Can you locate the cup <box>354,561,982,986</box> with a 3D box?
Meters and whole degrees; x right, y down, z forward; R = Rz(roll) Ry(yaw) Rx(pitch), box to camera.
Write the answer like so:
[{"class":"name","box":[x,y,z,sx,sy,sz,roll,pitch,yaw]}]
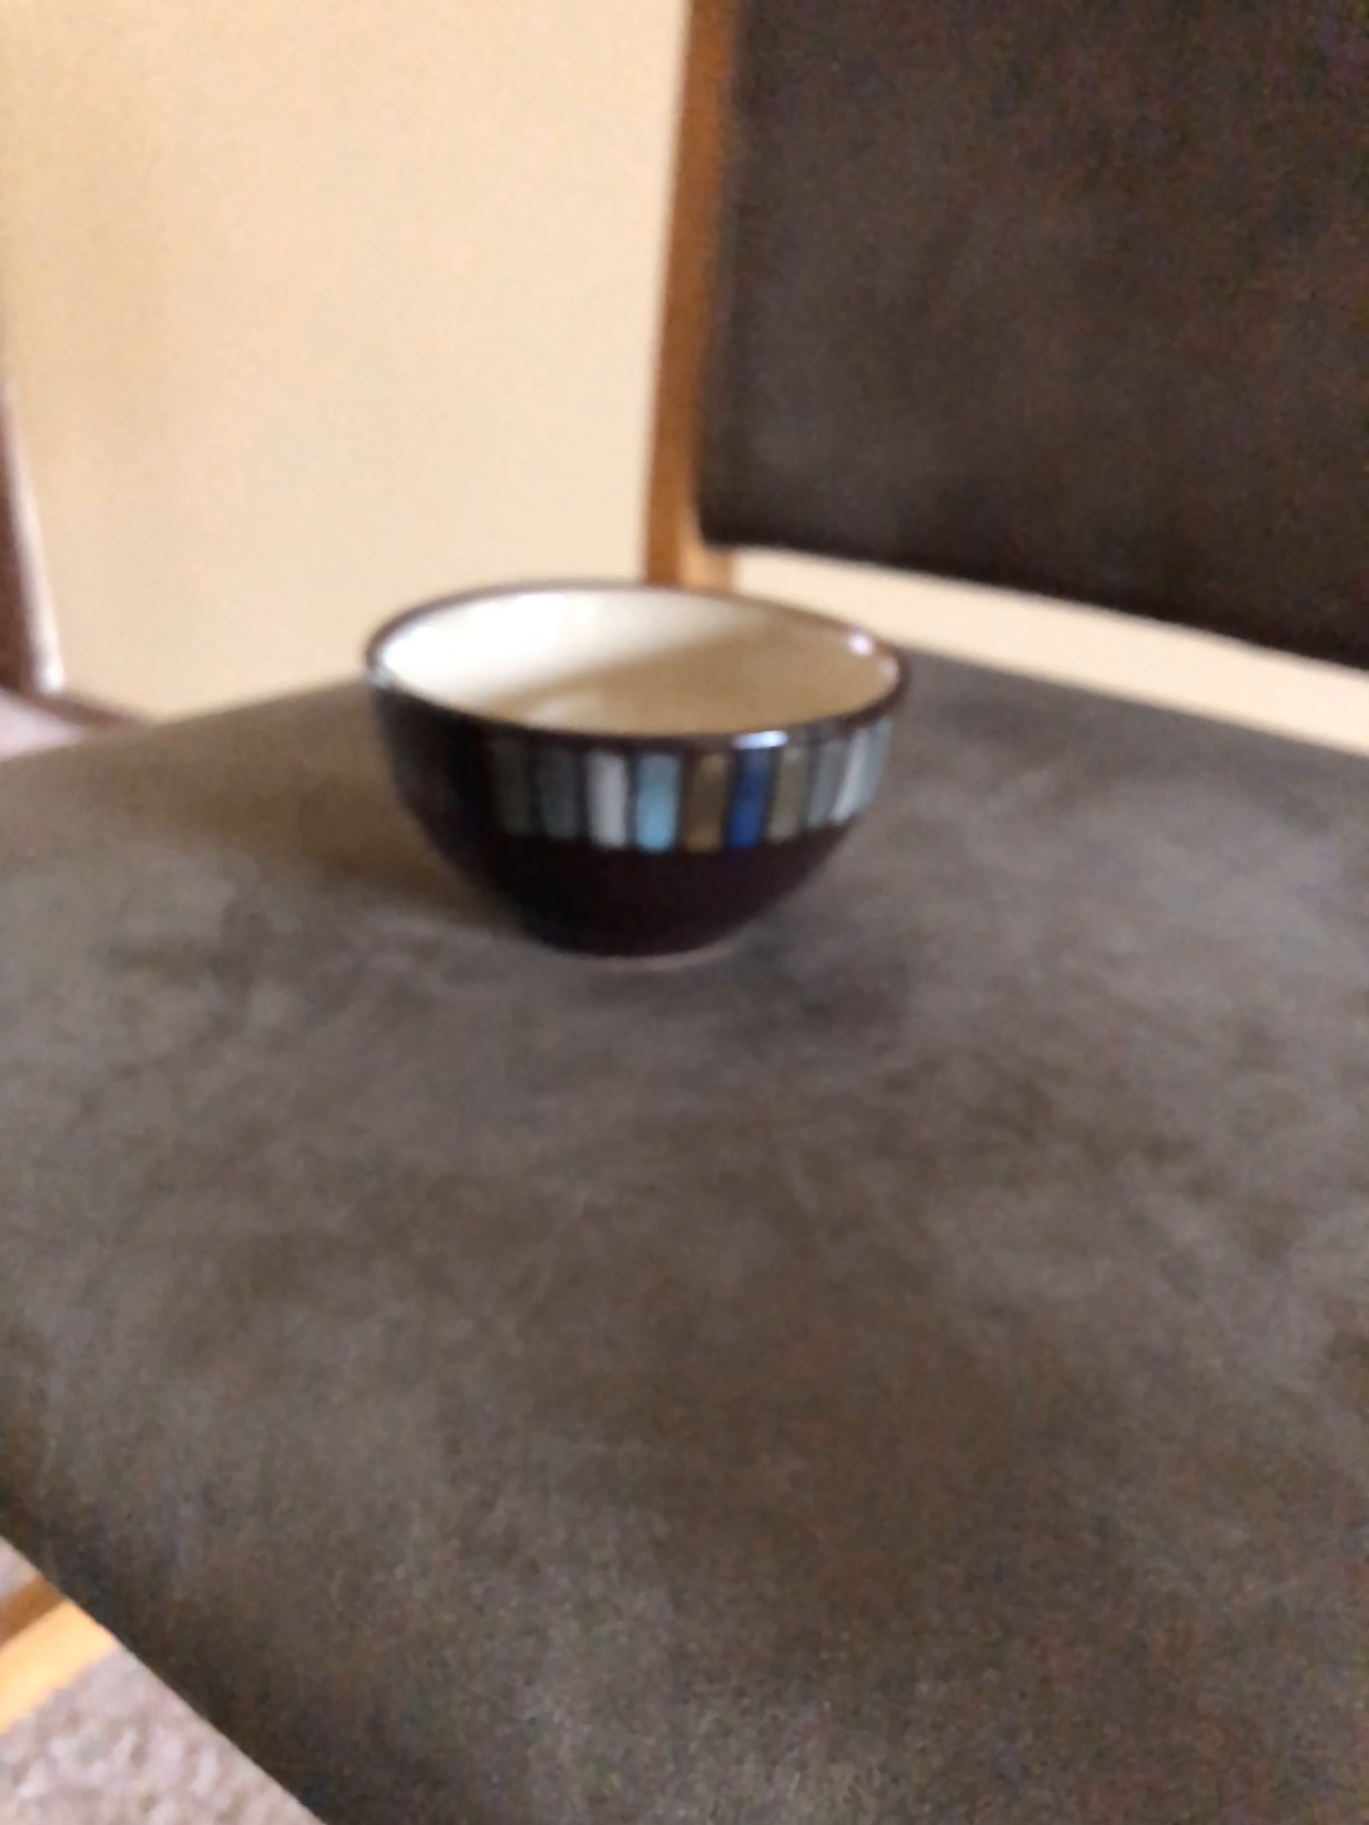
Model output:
[{"class":"cup","box":[-0.012,-0.036,0.330,0.108,0.044,0.115,1,27,-1]}]
